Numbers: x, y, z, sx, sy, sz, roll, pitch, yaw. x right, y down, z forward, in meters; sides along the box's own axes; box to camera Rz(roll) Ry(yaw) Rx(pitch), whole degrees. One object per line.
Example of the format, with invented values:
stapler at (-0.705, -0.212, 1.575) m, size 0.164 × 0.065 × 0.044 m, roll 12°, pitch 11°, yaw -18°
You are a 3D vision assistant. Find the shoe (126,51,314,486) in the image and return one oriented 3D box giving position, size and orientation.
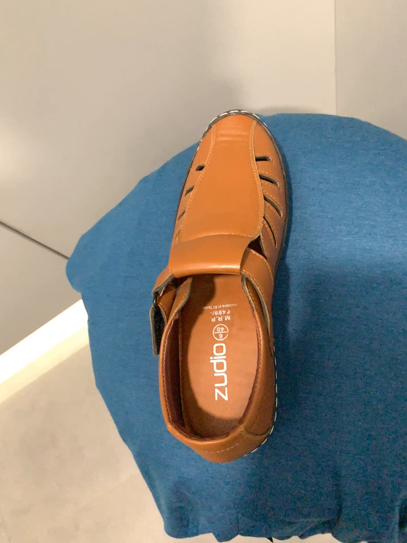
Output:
shoe at (0.022, -0.005, 0.310) m, size 0.100 × 0.100 × 0.270 m, roll -3°, pitch 73°, yaw 17°
